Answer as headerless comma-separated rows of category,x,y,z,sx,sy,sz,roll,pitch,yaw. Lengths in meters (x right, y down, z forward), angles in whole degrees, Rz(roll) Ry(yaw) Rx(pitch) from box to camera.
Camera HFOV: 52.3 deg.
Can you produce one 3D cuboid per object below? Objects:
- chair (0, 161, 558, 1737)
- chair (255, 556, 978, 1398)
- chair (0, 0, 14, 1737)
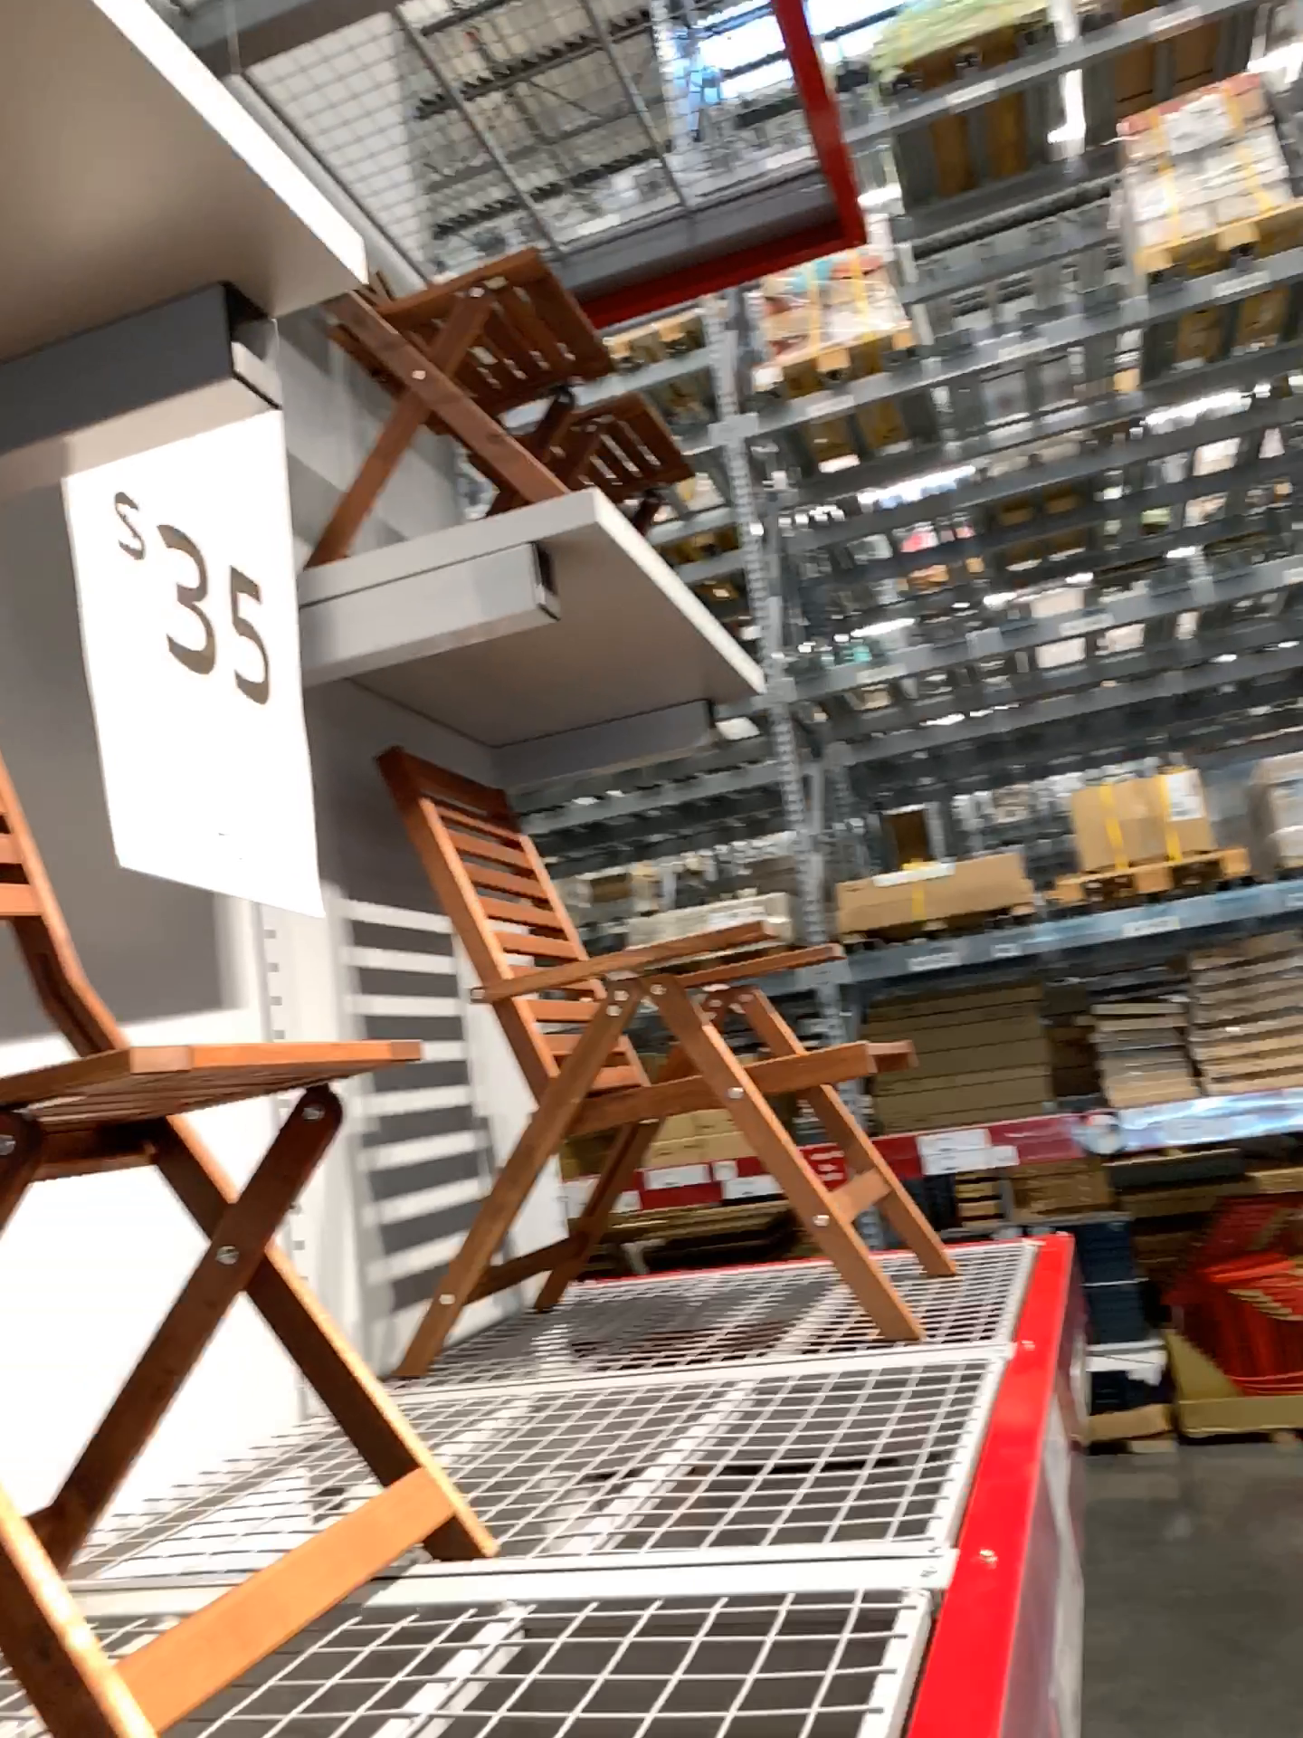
chair,-0.532,0.150,1.001,0.631,0.886,0.614,-11,-10,15
chair,-0.036,0.196,2.168,0.891,1.057,0.614,-11,-10,15
chair,-0.720,0.080,0.429,0.631,0.886,0.614,-12,-11,17
